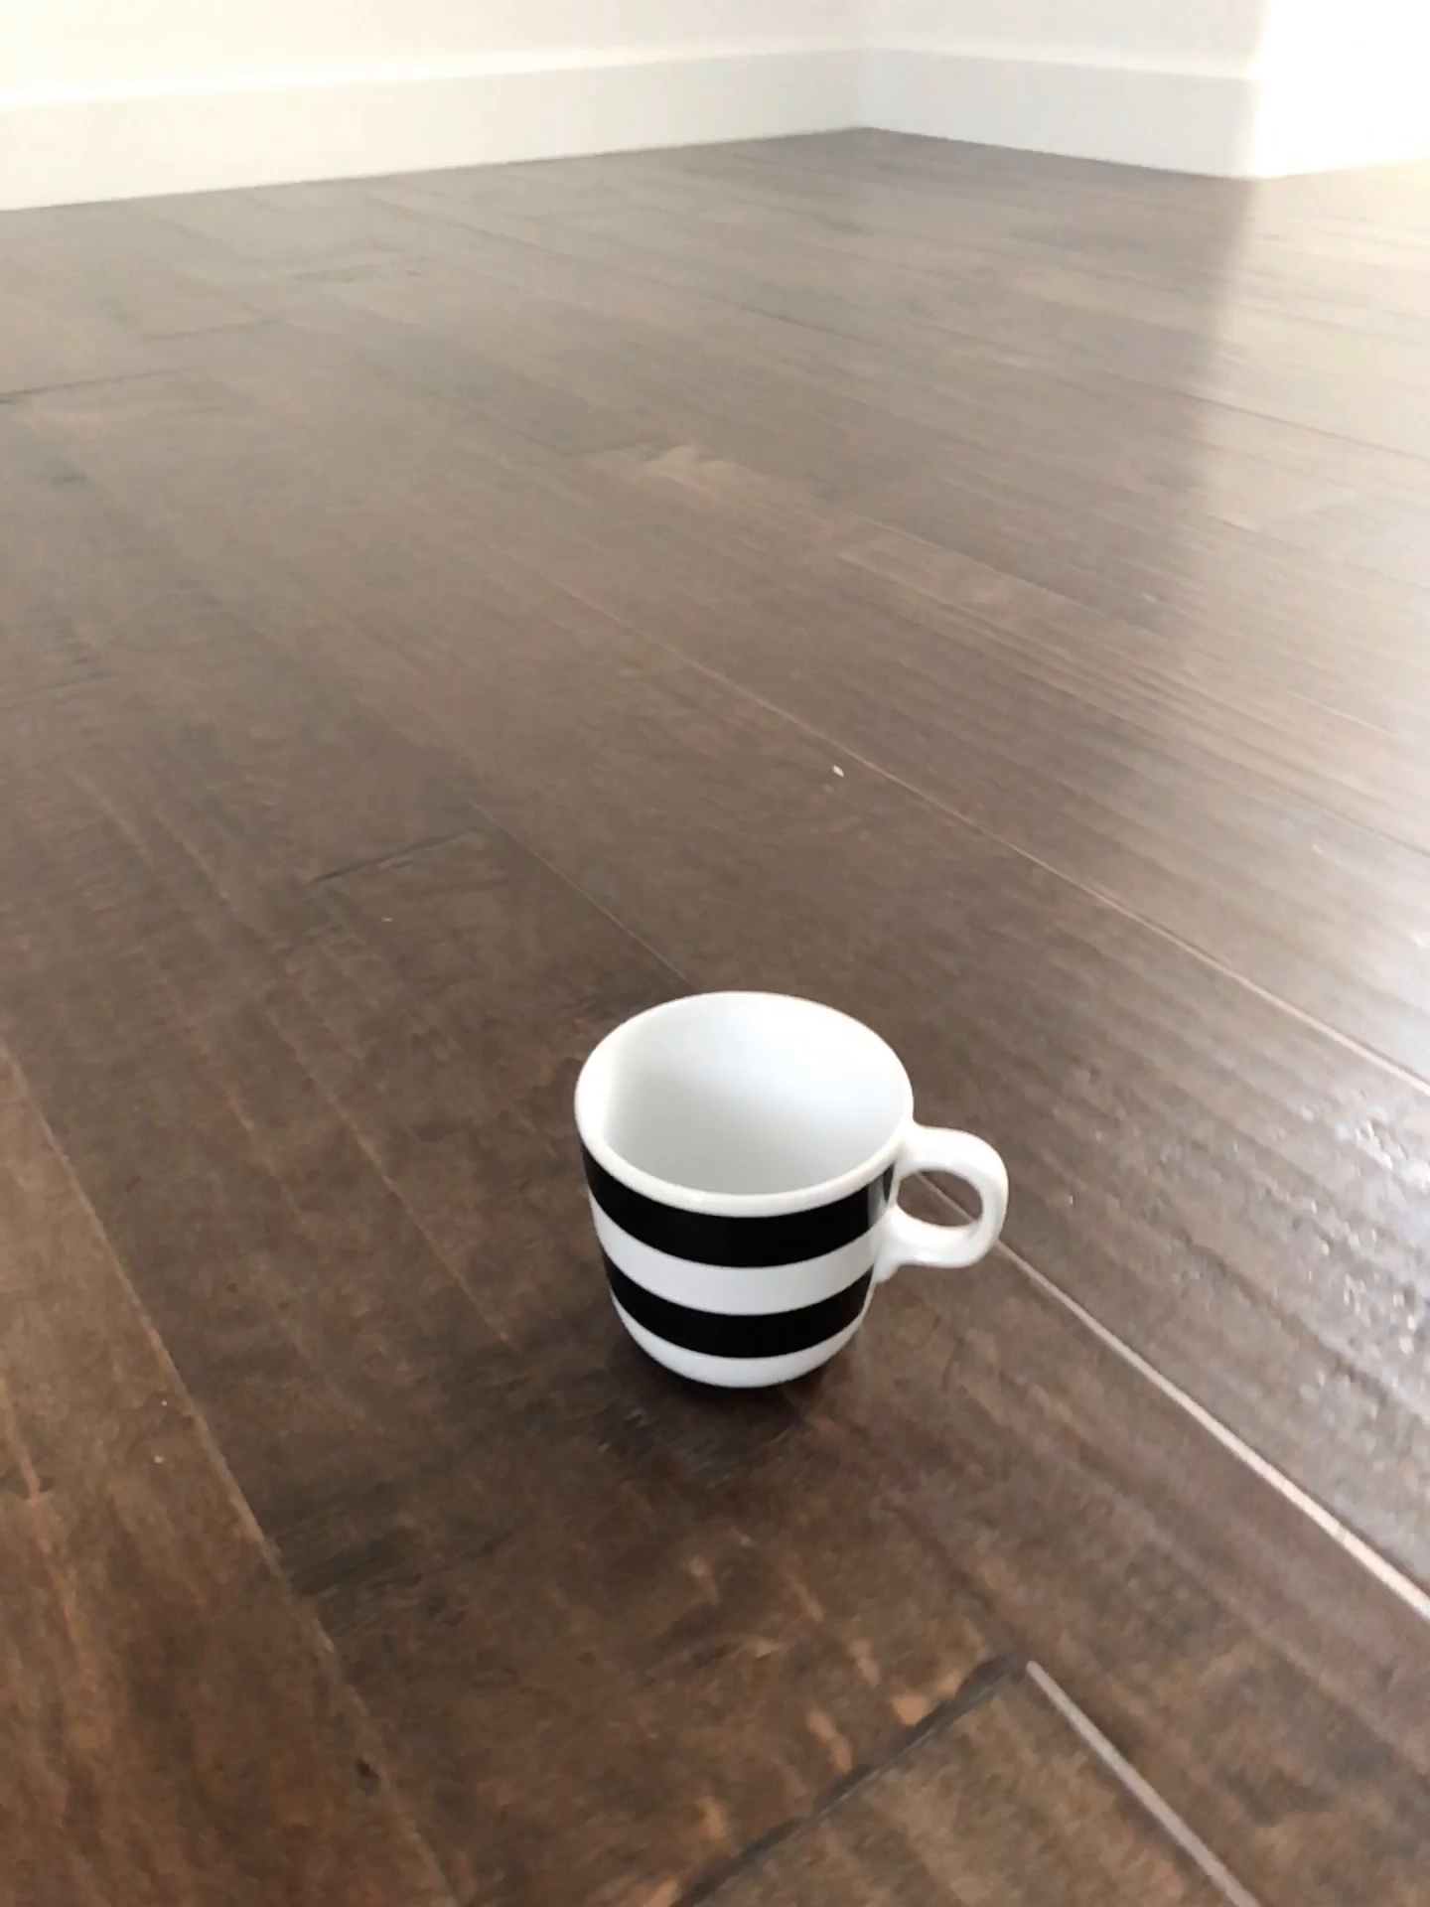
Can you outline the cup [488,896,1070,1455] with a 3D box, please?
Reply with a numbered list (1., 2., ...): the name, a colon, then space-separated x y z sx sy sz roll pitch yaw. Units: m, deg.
1. cup: 0.020 0.051 0.403 0.120 0.079 0.091 10 34 16
